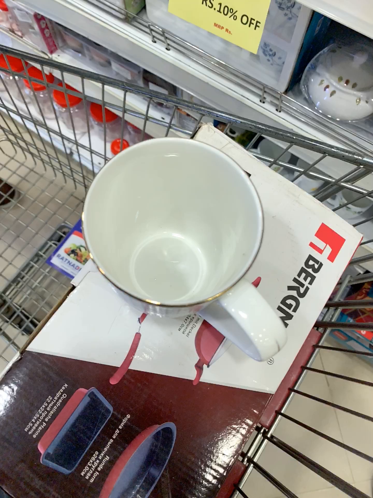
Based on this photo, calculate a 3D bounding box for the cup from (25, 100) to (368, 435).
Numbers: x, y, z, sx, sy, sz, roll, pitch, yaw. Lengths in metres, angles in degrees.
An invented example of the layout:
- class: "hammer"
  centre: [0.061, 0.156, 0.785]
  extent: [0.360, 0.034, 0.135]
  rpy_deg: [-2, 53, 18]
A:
- class: "cup"
  centre: [0.002, 0.010, 0.204]
  extent: [0.090, 0.080, 0.120]
  rpy_deg: [-41, 77, -13]
